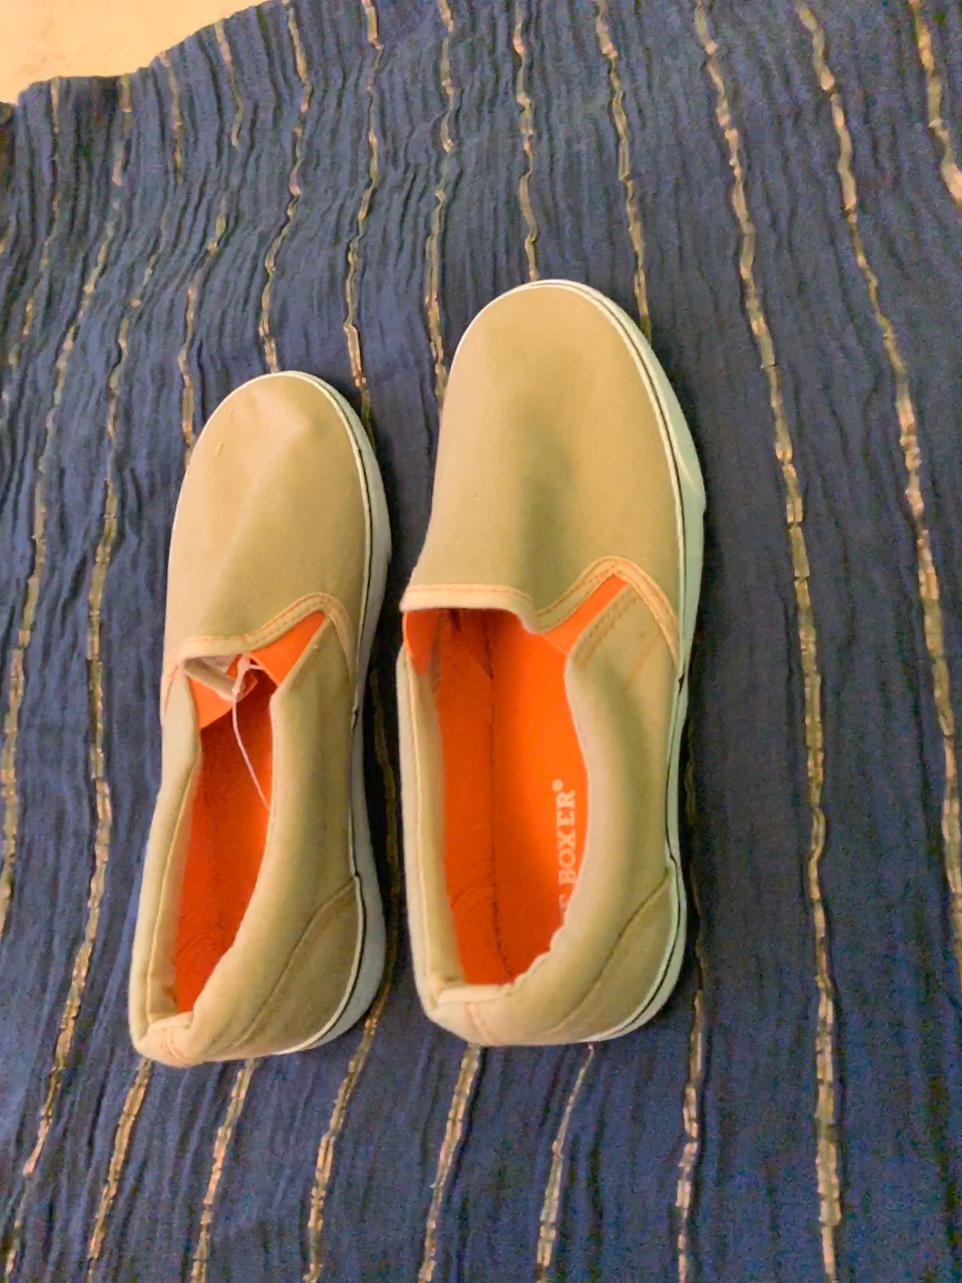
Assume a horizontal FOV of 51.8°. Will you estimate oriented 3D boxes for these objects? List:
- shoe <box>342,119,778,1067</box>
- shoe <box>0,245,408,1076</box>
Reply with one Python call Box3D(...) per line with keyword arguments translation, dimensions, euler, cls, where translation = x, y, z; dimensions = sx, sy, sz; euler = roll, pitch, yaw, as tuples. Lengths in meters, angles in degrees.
Box3D(translation=(0.022, -0.016, 0.317), dimensions=(0.100, 0.080, 0.271), euler=(-9, 70, 21), cls="shoe")
Box3D(translation=(-0.087, 0.006, 0.351), dimensions=(0.095, 0.080, 0.263), euler=(-9, 70, 21), cls="shoe")
